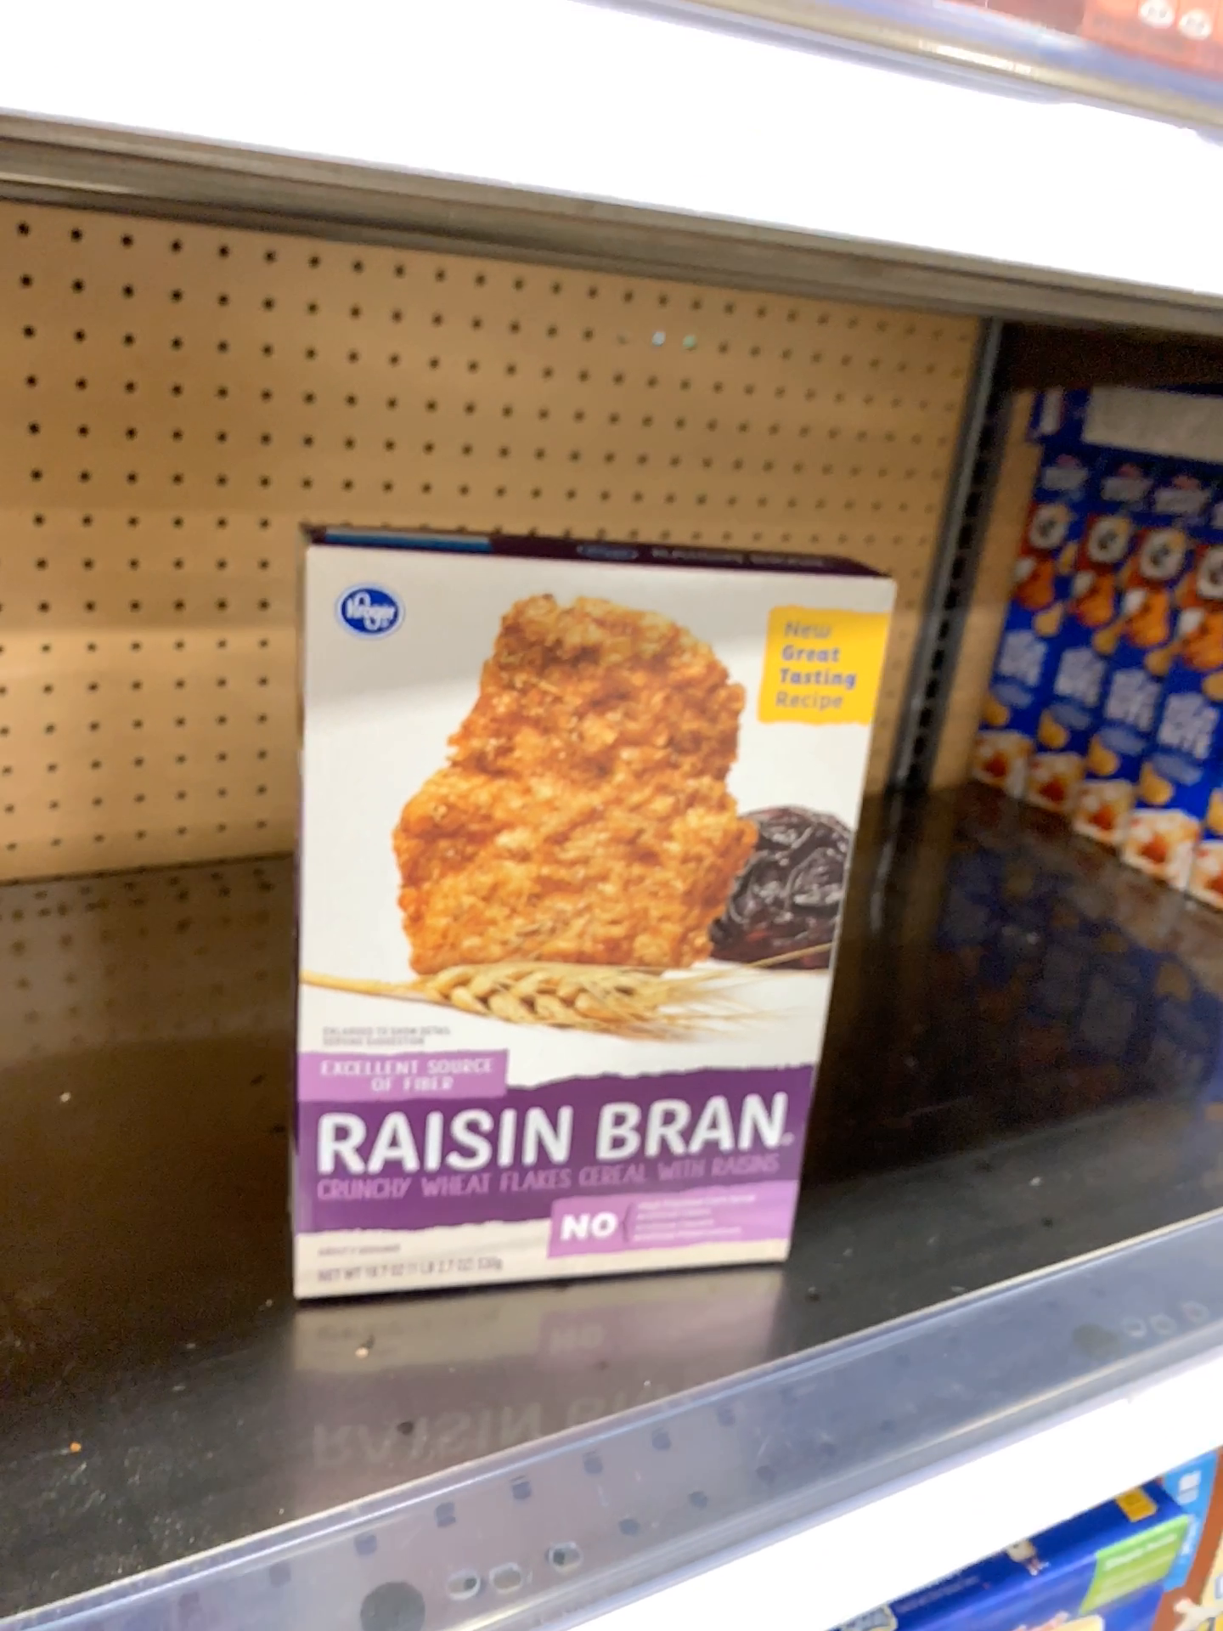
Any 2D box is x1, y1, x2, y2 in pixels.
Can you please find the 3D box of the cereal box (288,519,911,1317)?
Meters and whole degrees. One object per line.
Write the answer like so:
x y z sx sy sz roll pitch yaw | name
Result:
-0.014 0.041 0.454 0.190 0.269 0.050 0 20 -16 | cereal box
